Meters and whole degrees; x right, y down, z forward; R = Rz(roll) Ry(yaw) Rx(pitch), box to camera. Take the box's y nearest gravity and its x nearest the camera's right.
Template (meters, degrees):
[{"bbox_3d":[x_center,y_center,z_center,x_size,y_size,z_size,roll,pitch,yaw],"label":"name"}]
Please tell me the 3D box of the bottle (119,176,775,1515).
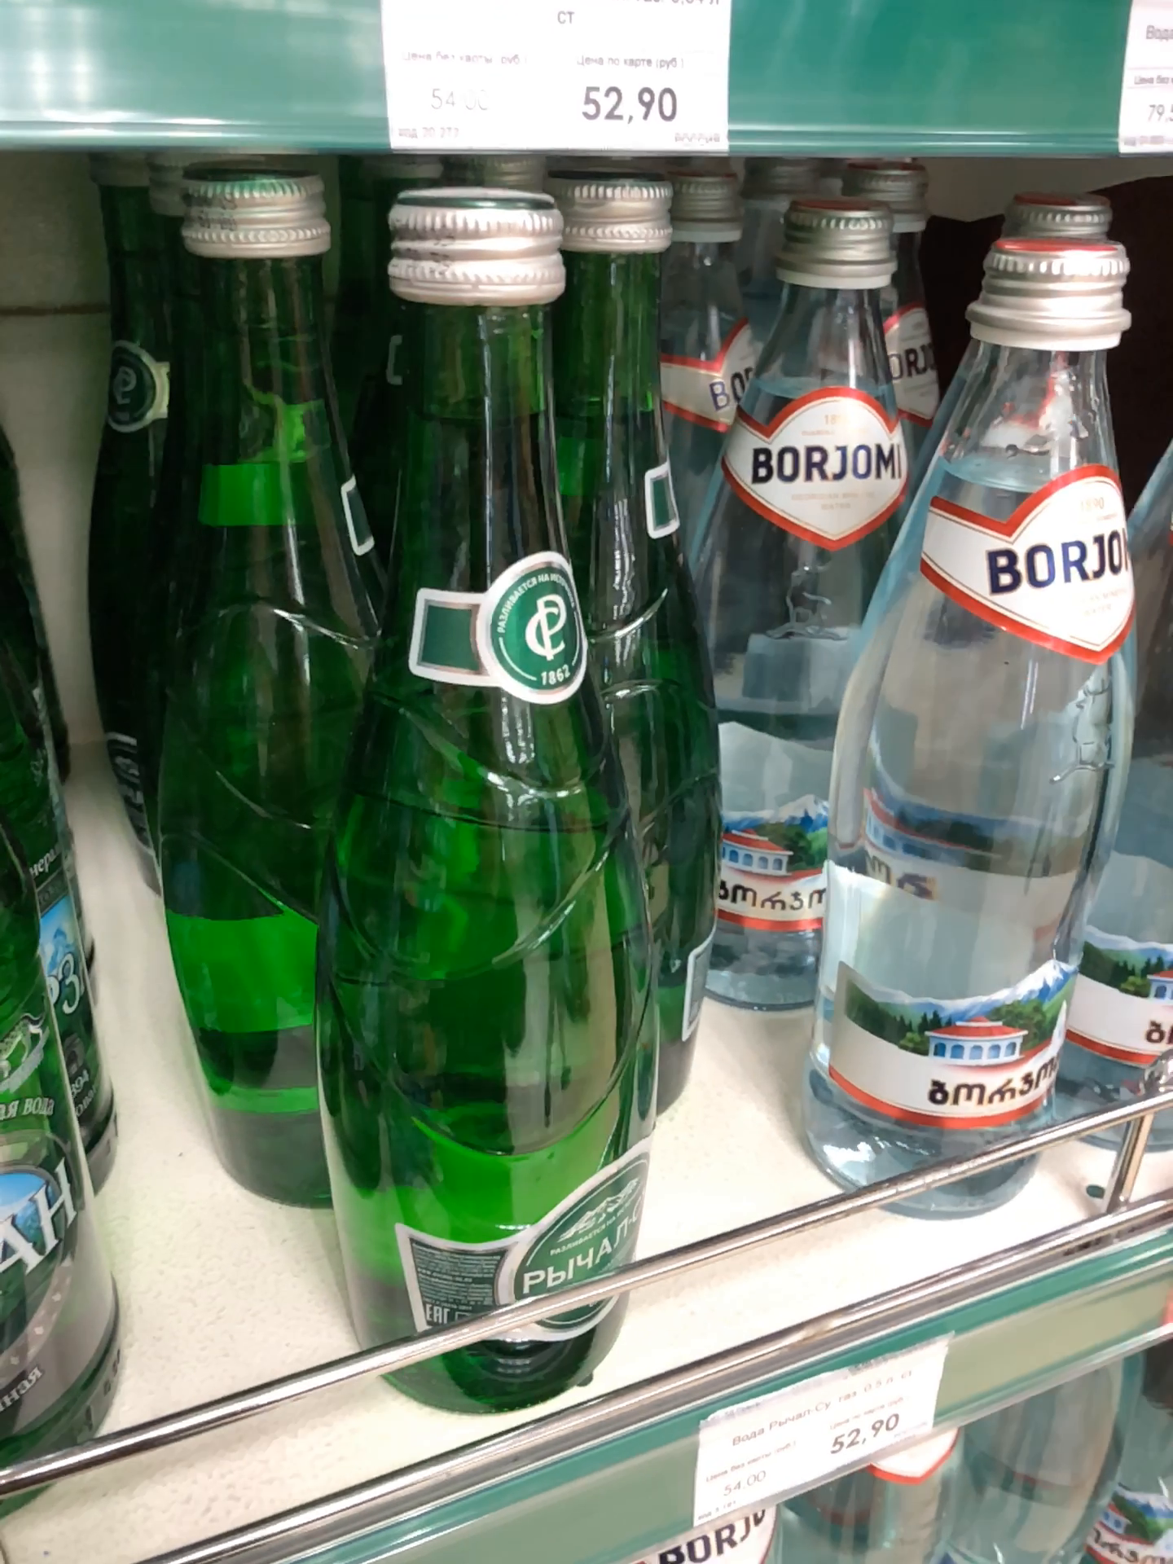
[{"bbox_3d":[-0.023,0.019,0.270,0.070,0.259,0.080,24,35,38],"label":"bottle"}]
